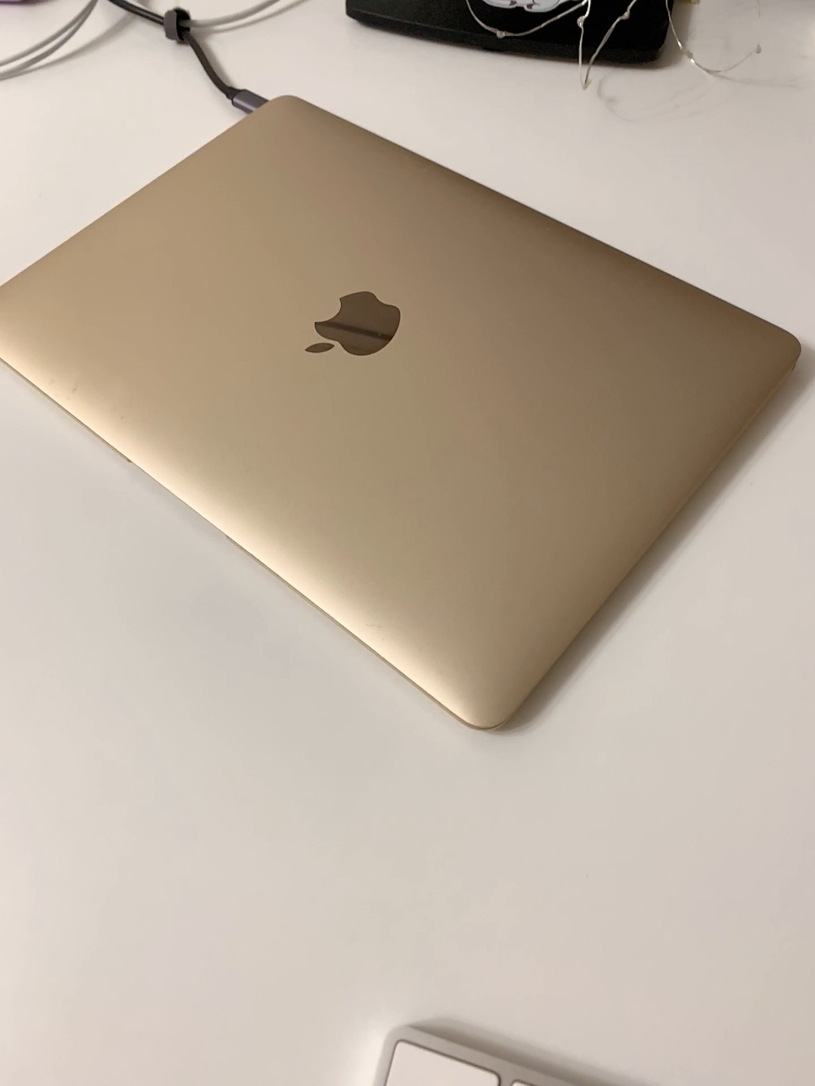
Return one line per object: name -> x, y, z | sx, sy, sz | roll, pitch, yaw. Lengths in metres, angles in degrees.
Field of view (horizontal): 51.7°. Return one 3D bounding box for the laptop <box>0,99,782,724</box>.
laptop -> -0.021, -0.078, 0.318 | 0.255, 0.009, 0.175 | 35, 68, 23
